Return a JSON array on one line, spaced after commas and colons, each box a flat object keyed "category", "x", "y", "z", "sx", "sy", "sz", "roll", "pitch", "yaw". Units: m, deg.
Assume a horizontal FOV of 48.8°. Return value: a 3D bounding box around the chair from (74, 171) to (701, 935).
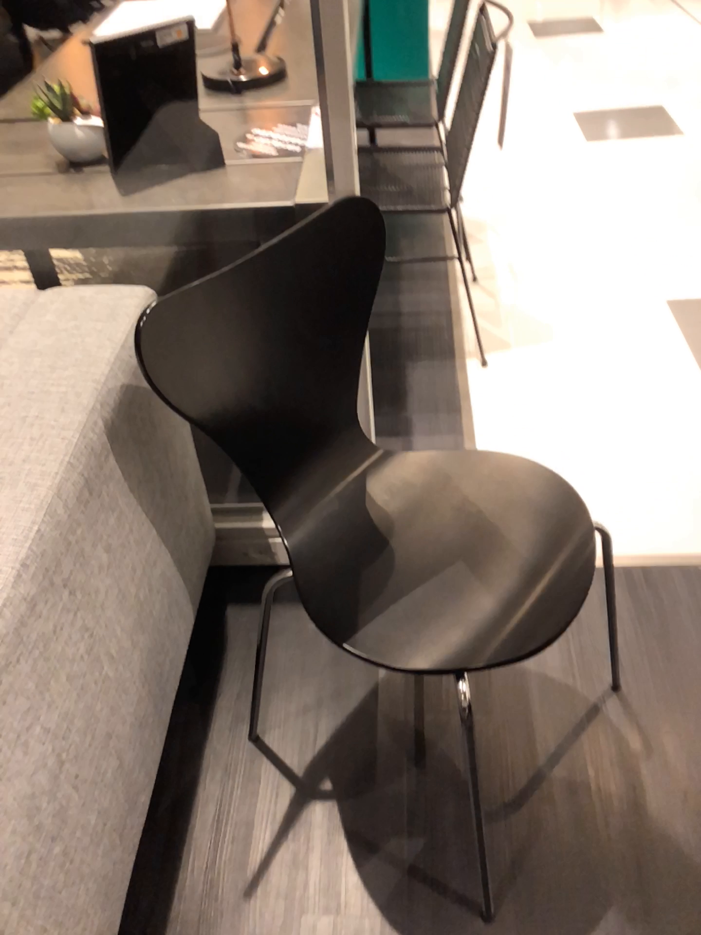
[{"category": "chair", "x": 0.101, "y": 0.129, "z": 1.047, "sx": 0.501, "sy": 0.804, "sz": 0.492, "roll": 25, "pitch": 50, "yaw": 29}]
